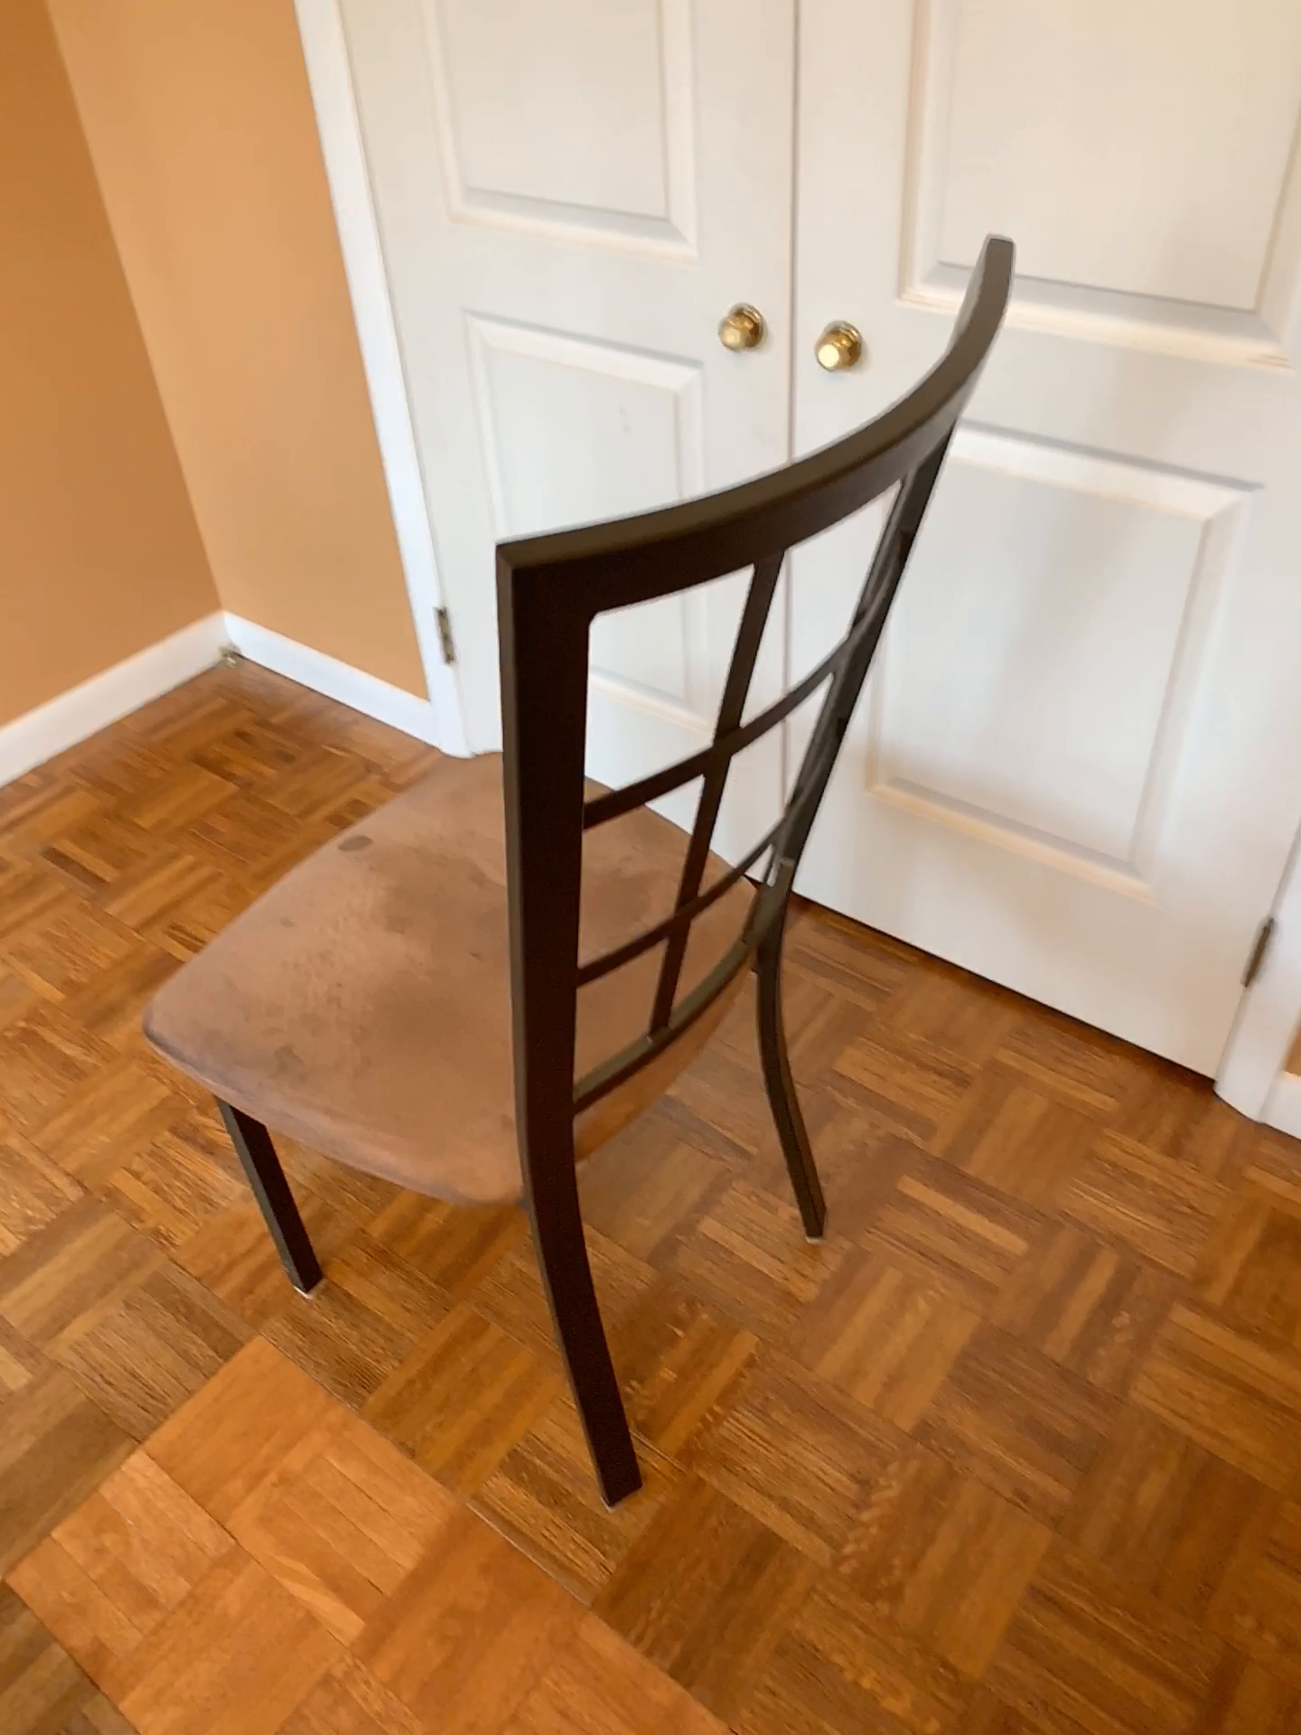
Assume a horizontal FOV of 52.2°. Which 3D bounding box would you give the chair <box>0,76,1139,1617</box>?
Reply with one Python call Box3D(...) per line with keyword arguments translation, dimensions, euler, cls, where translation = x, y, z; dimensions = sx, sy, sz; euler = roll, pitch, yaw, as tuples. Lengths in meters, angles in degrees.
Box3D(translation=(-0.115, 0.006, 1.082), dimensions=(0.622, 0.984, 0.511), euler=(26, 49, 27), cls="chair")
